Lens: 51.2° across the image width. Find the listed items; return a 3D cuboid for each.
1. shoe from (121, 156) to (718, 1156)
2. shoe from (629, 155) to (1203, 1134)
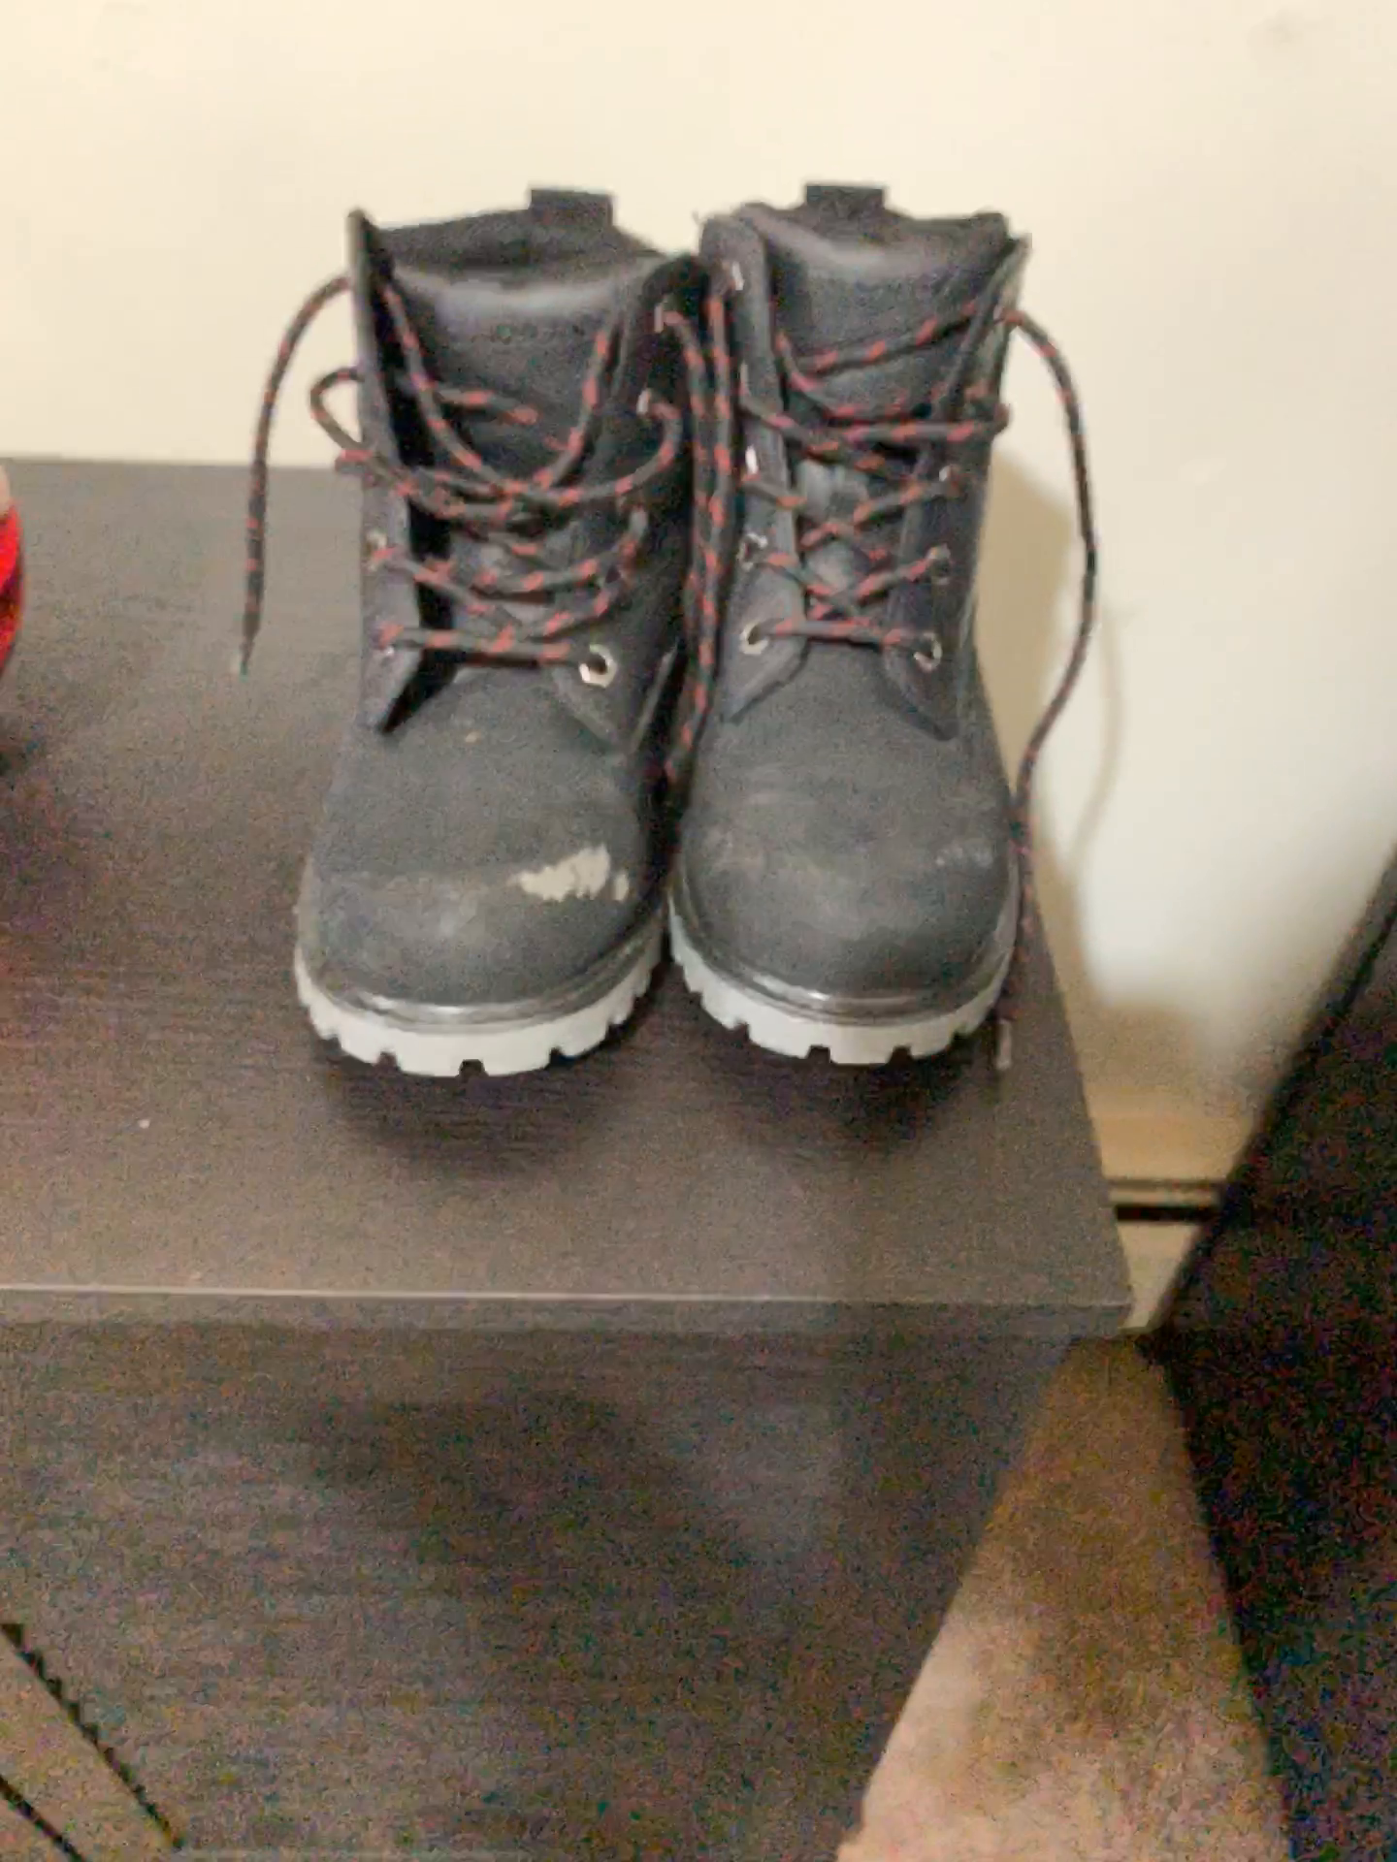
[{"bbox_3d":[-0.052,-0.080,0.381,0.100,0.159,0.222,1,43,-2],"label":"shoe"},{"bbox_3d":[0.035,-0.087,0.397,0.100,0.159,0.232,1,43,-2],"label":"shoe"}]
